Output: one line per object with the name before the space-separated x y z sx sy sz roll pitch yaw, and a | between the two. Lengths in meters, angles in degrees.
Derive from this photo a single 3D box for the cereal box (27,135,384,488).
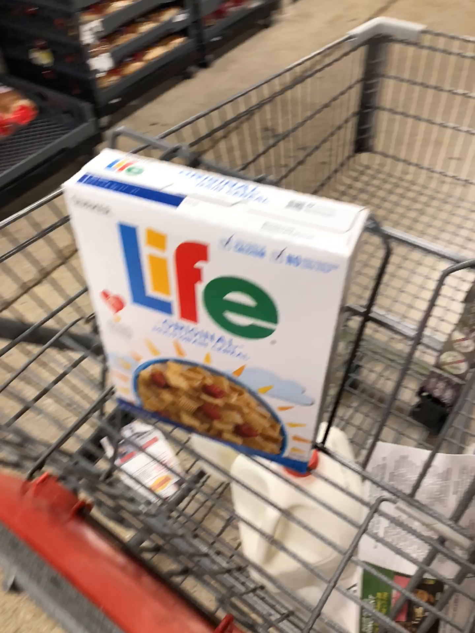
cereal box | -0.022 0.010 0.382 0.200 0.240 0.050 17 48 16
